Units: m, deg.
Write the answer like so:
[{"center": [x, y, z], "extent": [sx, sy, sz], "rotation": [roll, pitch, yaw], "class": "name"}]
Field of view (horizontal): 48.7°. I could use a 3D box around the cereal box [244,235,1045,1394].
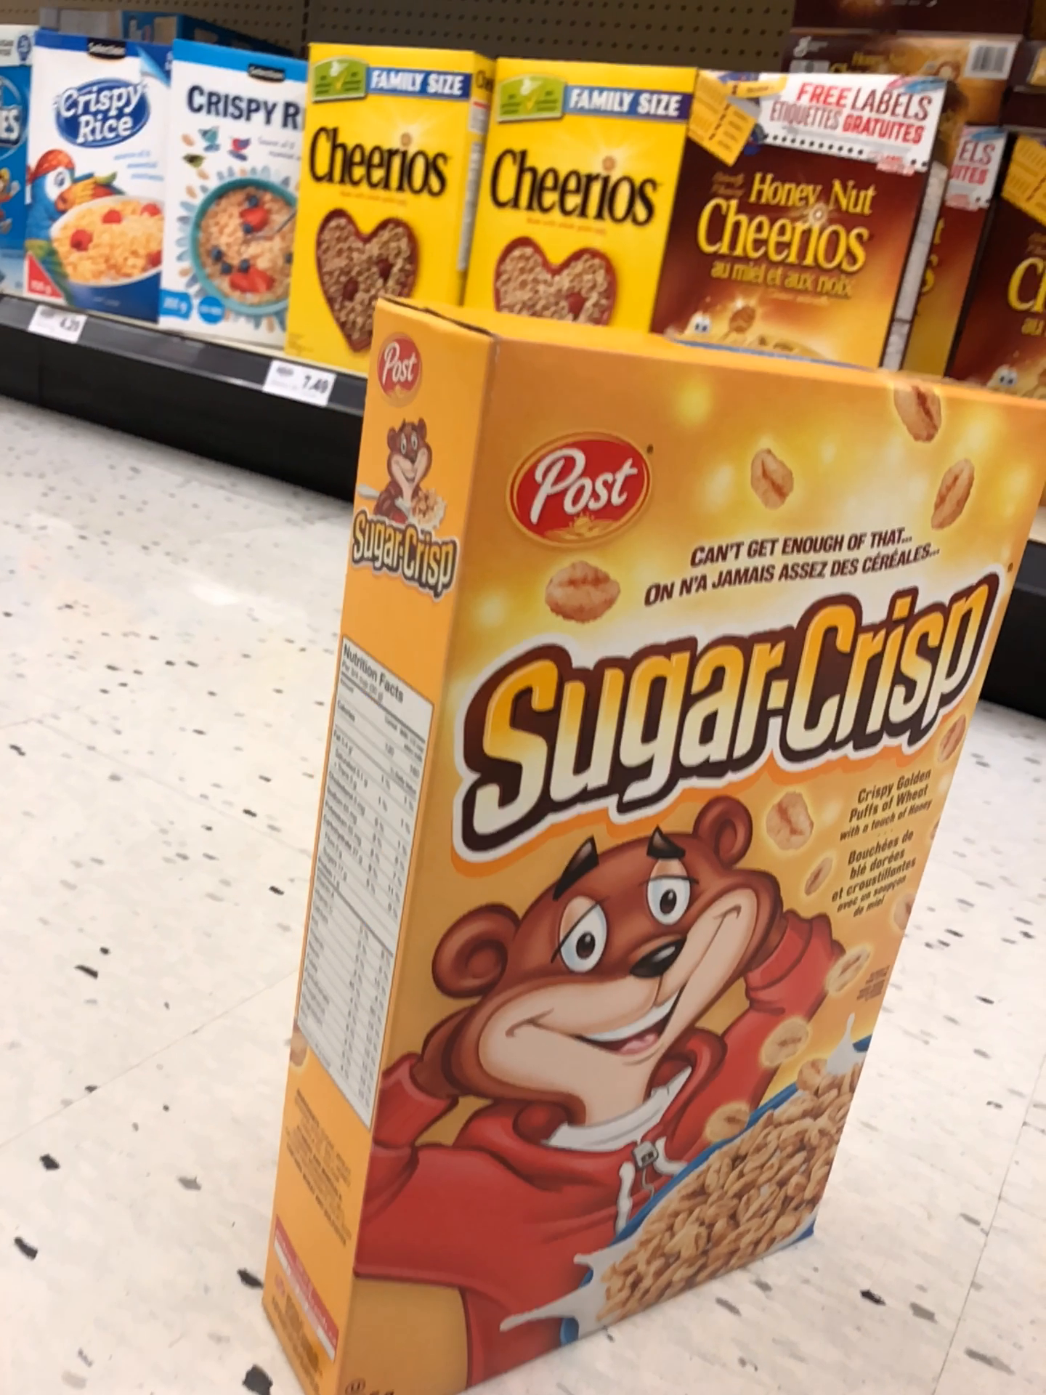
[{"center": [0.045, 0.047, 0.327], "extent": [0.210, 0.299, 0.060], "rotation": [-4, 23, -34], "class": "cereal box"}]
